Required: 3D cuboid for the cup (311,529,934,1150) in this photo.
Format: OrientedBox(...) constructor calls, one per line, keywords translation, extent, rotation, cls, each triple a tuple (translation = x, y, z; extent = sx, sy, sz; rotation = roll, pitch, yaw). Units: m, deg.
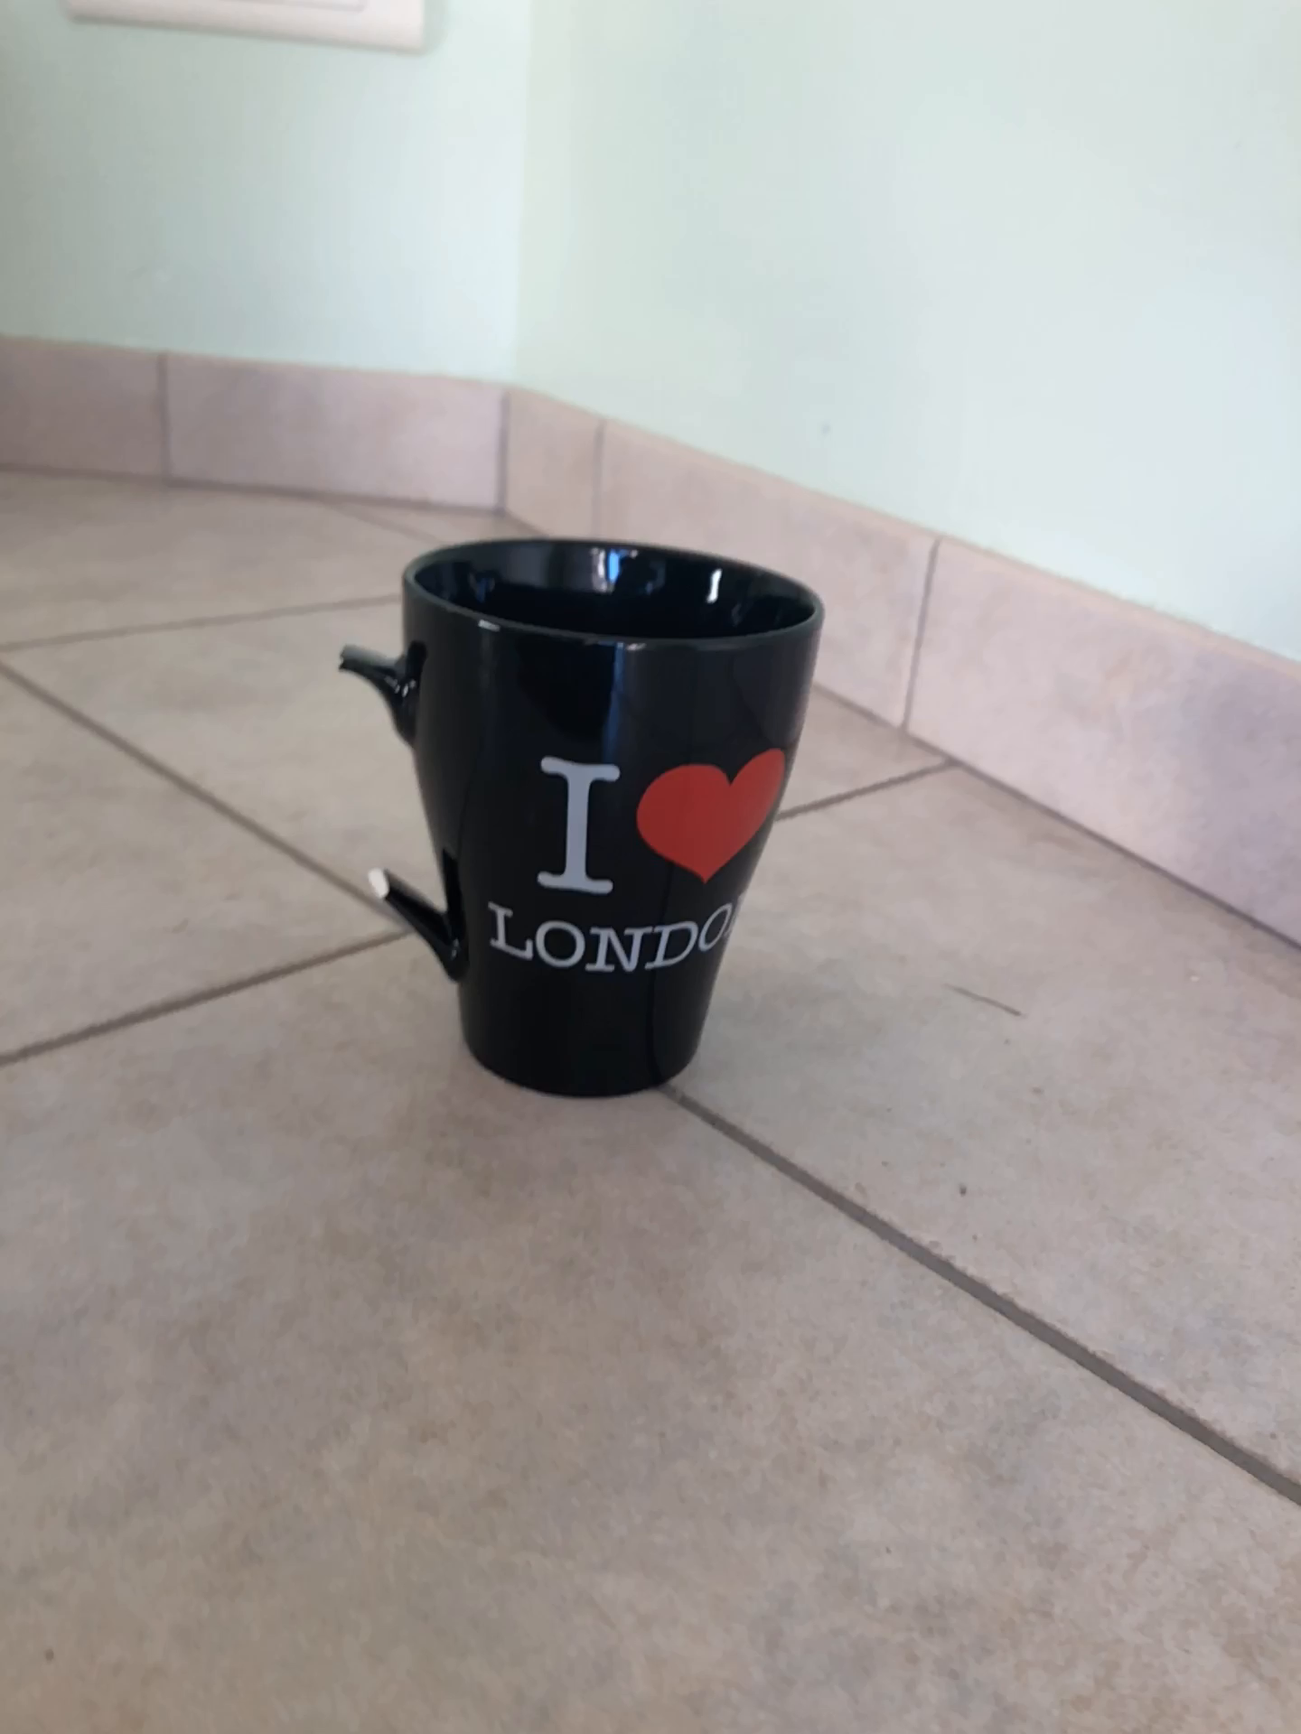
OrientedBox(translation=(-0.015, -0.014, 0.329), extent=(0.108, 0.103, 0.098), rotation=(-4, 26, -20), cls="cup")
